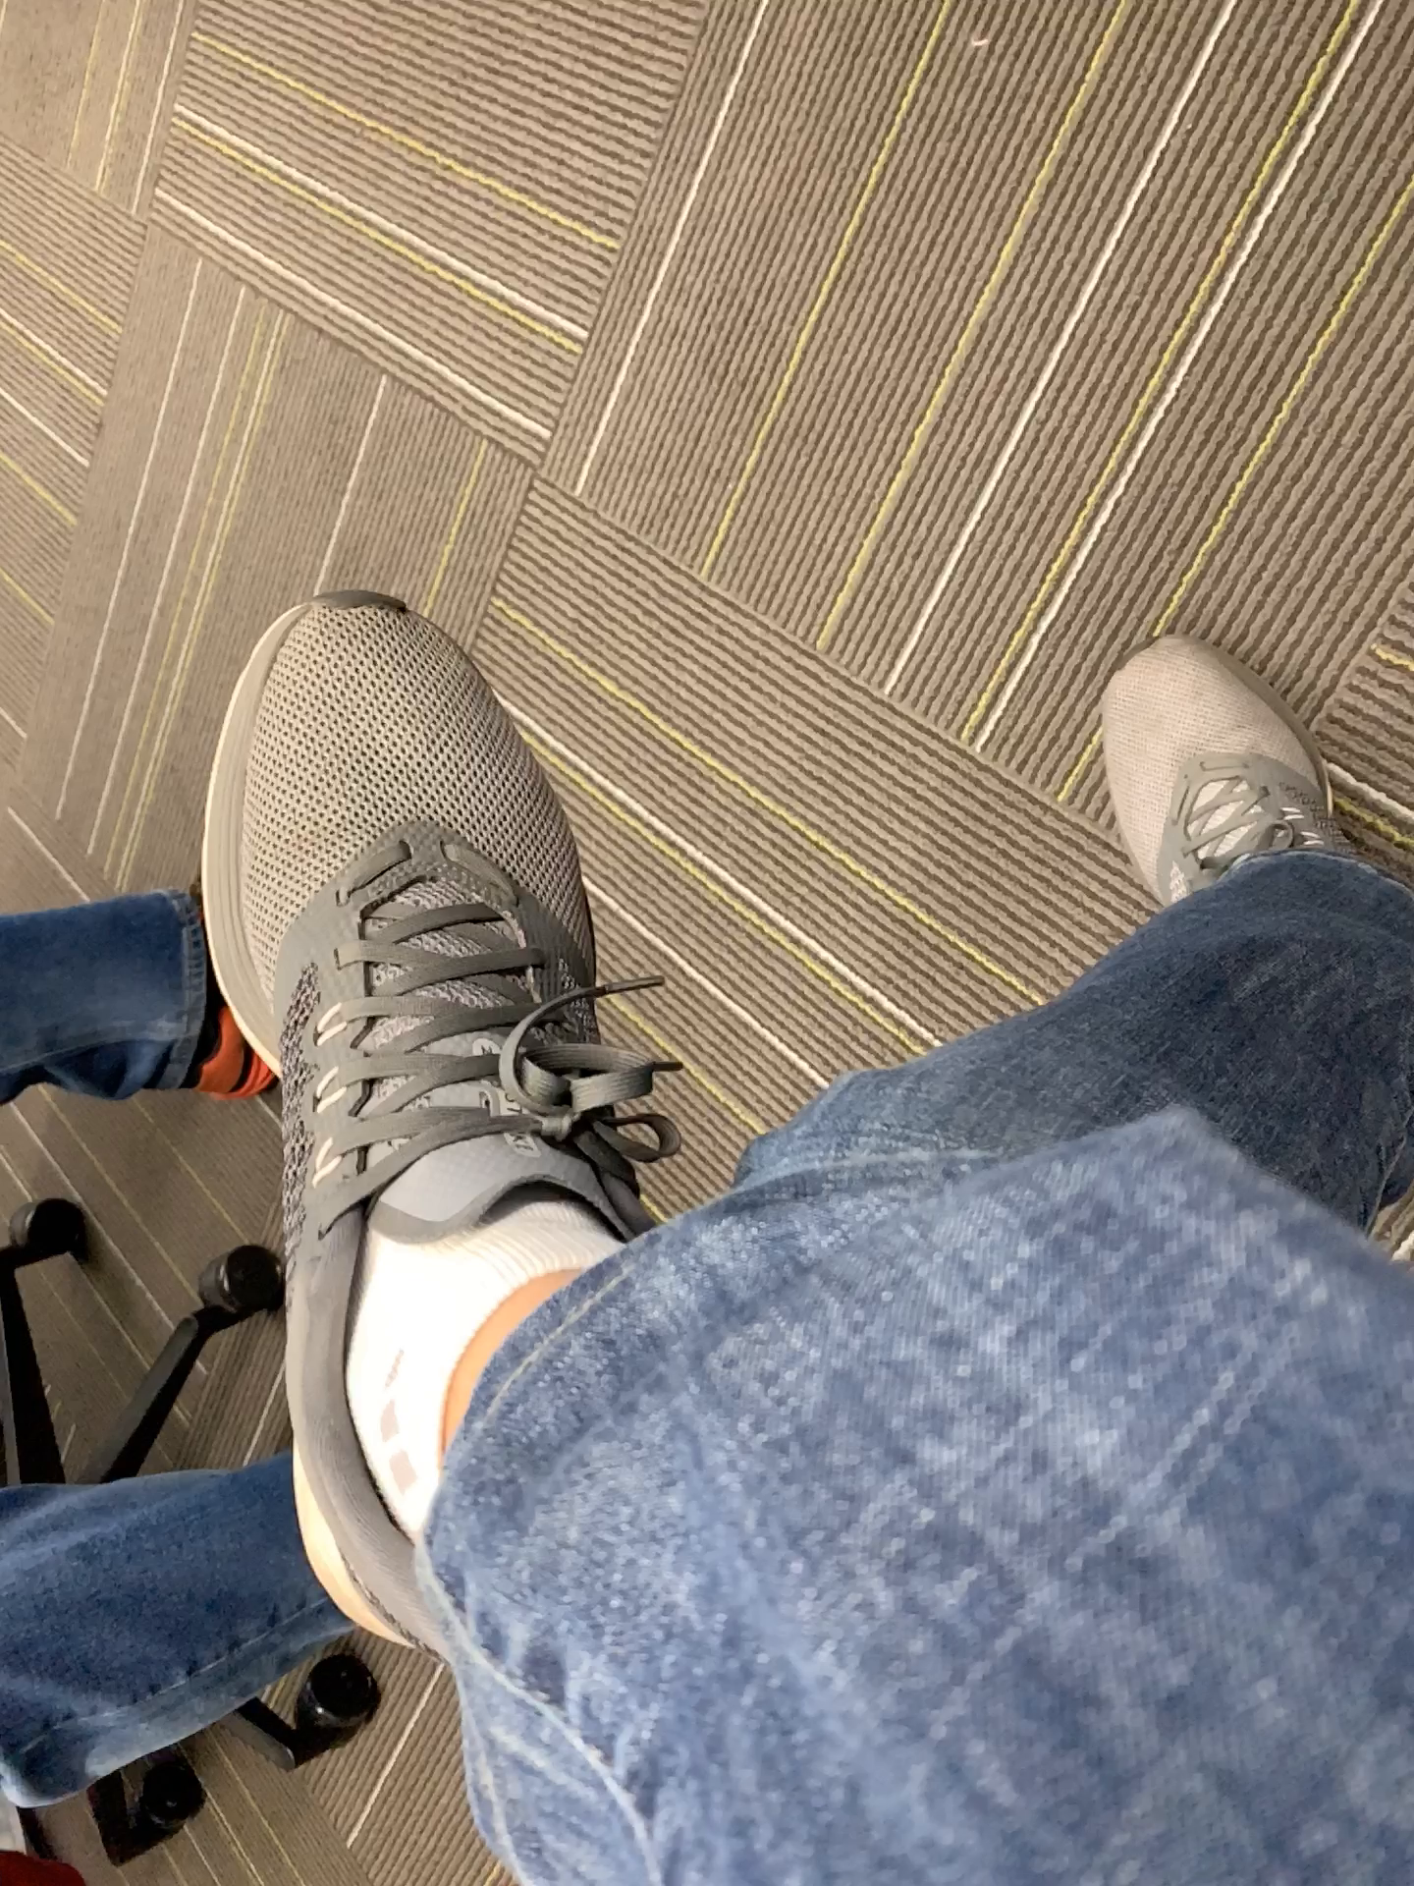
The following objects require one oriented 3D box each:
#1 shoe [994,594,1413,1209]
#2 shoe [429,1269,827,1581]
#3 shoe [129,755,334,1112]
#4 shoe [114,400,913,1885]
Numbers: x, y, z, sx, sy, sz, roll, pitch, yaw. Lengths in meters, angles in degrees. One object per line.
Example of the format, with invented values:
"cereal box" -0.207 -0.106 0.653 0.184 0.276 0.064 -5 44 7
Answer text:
"shoe" 0.289 -0.026 0.745 0.117 0.074 0.293 -44 68 33
"shoe" -0.066 0.365 1.103 0.278 0.116 0.112 -39 62 27
"shoe" -0.428 -0.009 1.298 0.113 0.107 0.294 20 101 56
"shoe" -0.062 0.037 0.372 0.143 0.115 0.294 144 116 -70
